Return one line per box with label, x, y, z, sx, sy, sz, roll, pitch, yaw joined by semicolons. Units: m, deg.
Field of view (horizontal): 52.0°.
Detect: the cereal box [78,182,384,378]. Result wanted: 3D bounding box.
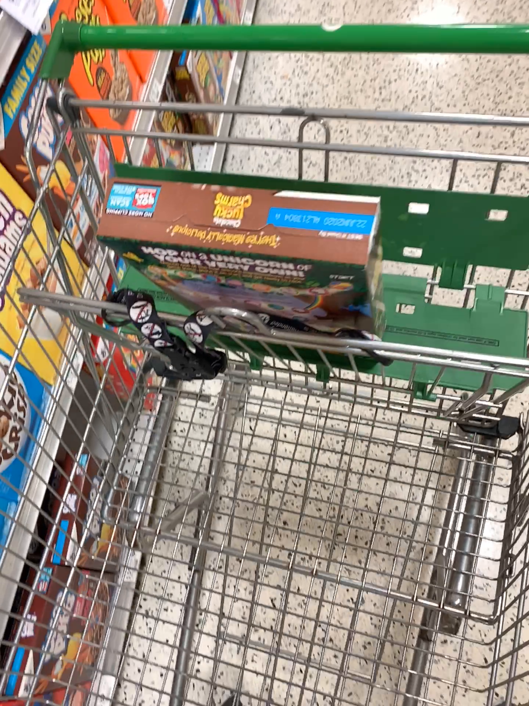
cereal box;0.003;-0.047;0.498;0.200;0.299;0.050;9;78;15
